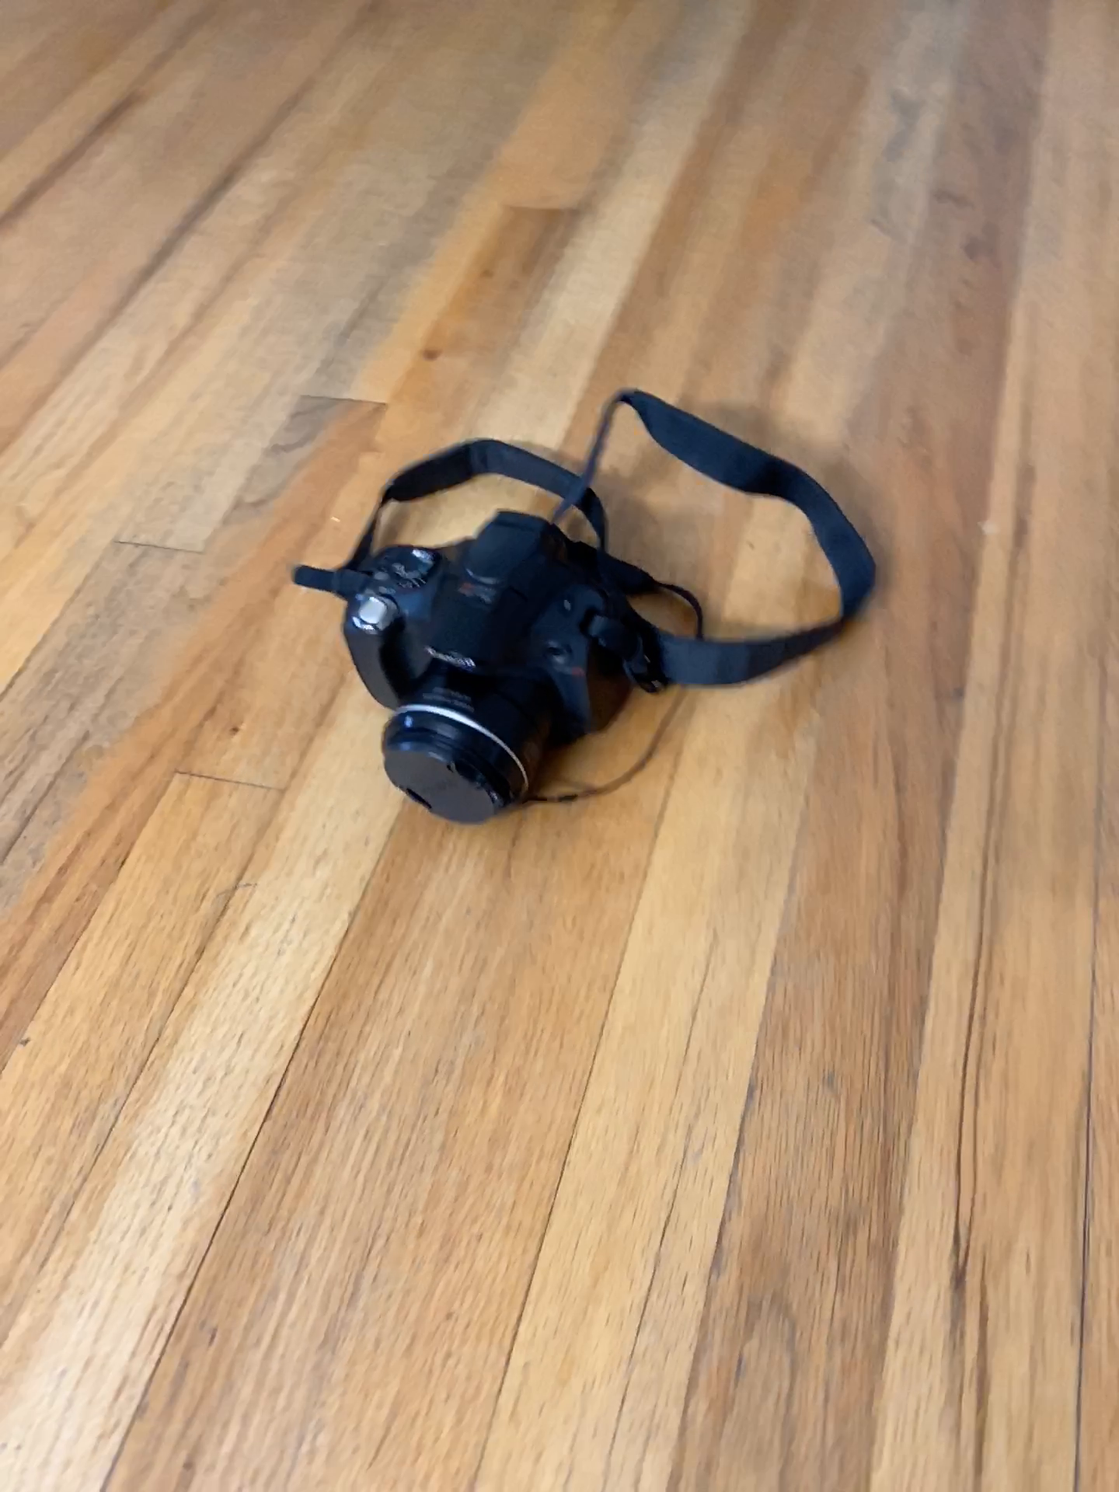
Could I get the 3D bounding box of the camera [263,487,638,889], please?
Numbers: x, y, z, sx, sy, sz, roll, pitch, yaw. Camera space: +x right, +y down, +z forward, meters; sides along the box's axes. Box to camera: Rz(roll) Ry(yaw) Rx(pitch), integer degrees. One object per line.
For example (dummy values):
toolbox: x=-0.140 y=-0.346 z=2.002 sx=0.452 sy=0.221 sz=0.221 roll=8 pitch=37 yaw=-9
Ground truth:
camera: x=-0.039 y=-0.027 z=0.512 sx=0.110 sy=0.110 sz=0.120 roll=11 pitch=56 yaw=17
